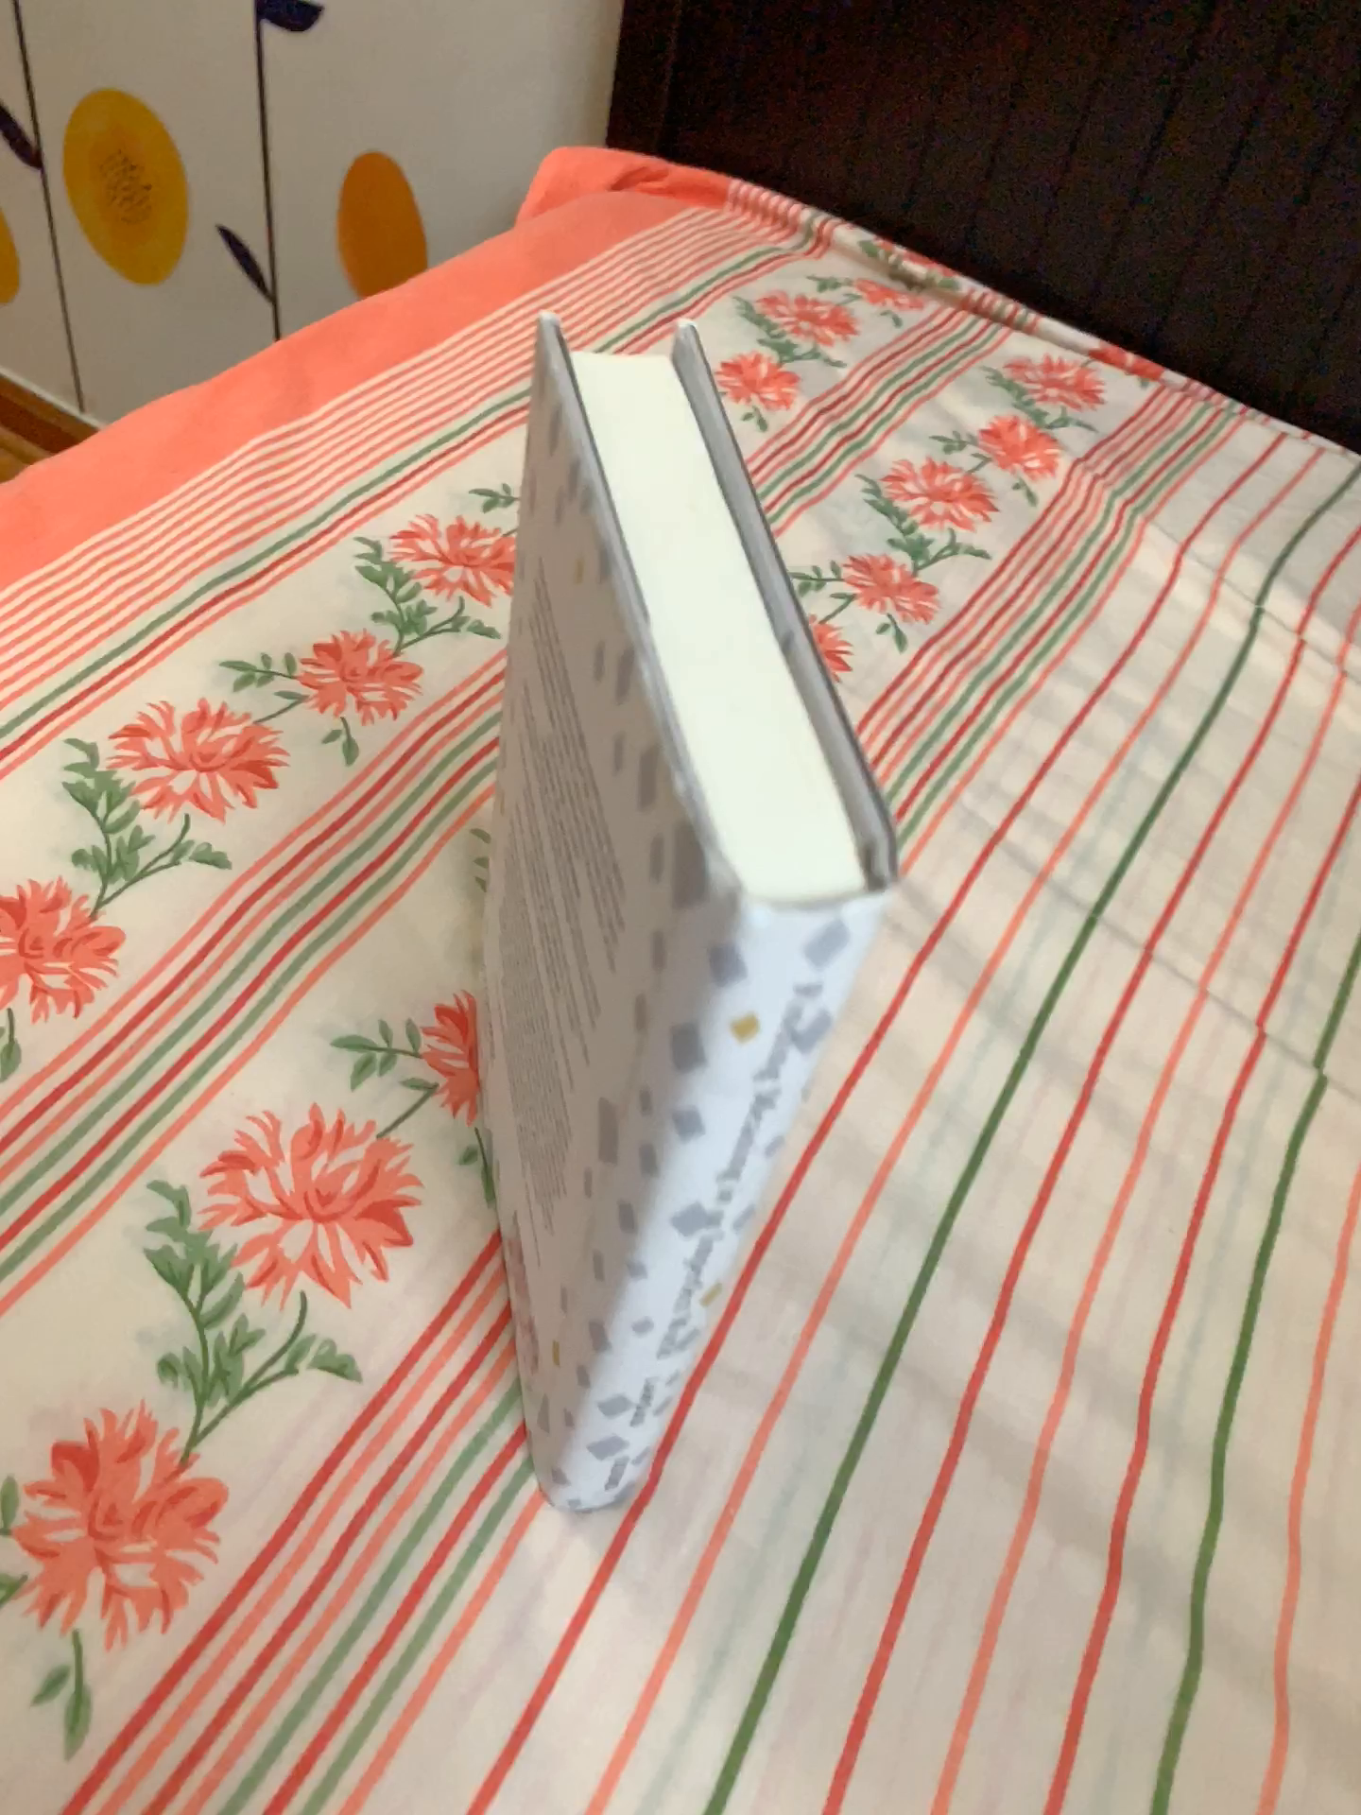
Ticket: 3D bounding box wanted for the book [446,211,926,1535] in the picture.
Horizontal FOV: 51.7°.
[{"bbox_3d":[-0.021,0.006,0.287,0.030,0.218,0.161,-2,49,-15],"label":"book"}]
